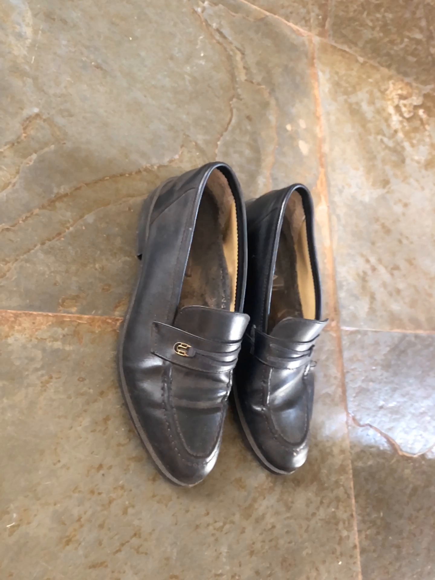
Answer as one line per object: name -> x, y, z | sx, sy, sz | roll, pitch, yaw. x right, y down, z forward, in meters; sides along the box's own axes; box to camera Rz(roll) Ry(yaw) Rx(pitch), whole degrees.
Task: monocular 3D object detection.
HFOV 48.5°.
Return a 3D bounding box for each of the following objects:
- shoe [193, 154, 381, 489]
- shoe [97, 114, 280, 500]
shoe -> 0.056, 0.027, 0.439 | 0.101, 0.099, 0.260 | 2, 77, -33
shoe -> -0.028, 0.014, 0.387 | 0.100, 0.099, 0.260 | 6, 75, -32
